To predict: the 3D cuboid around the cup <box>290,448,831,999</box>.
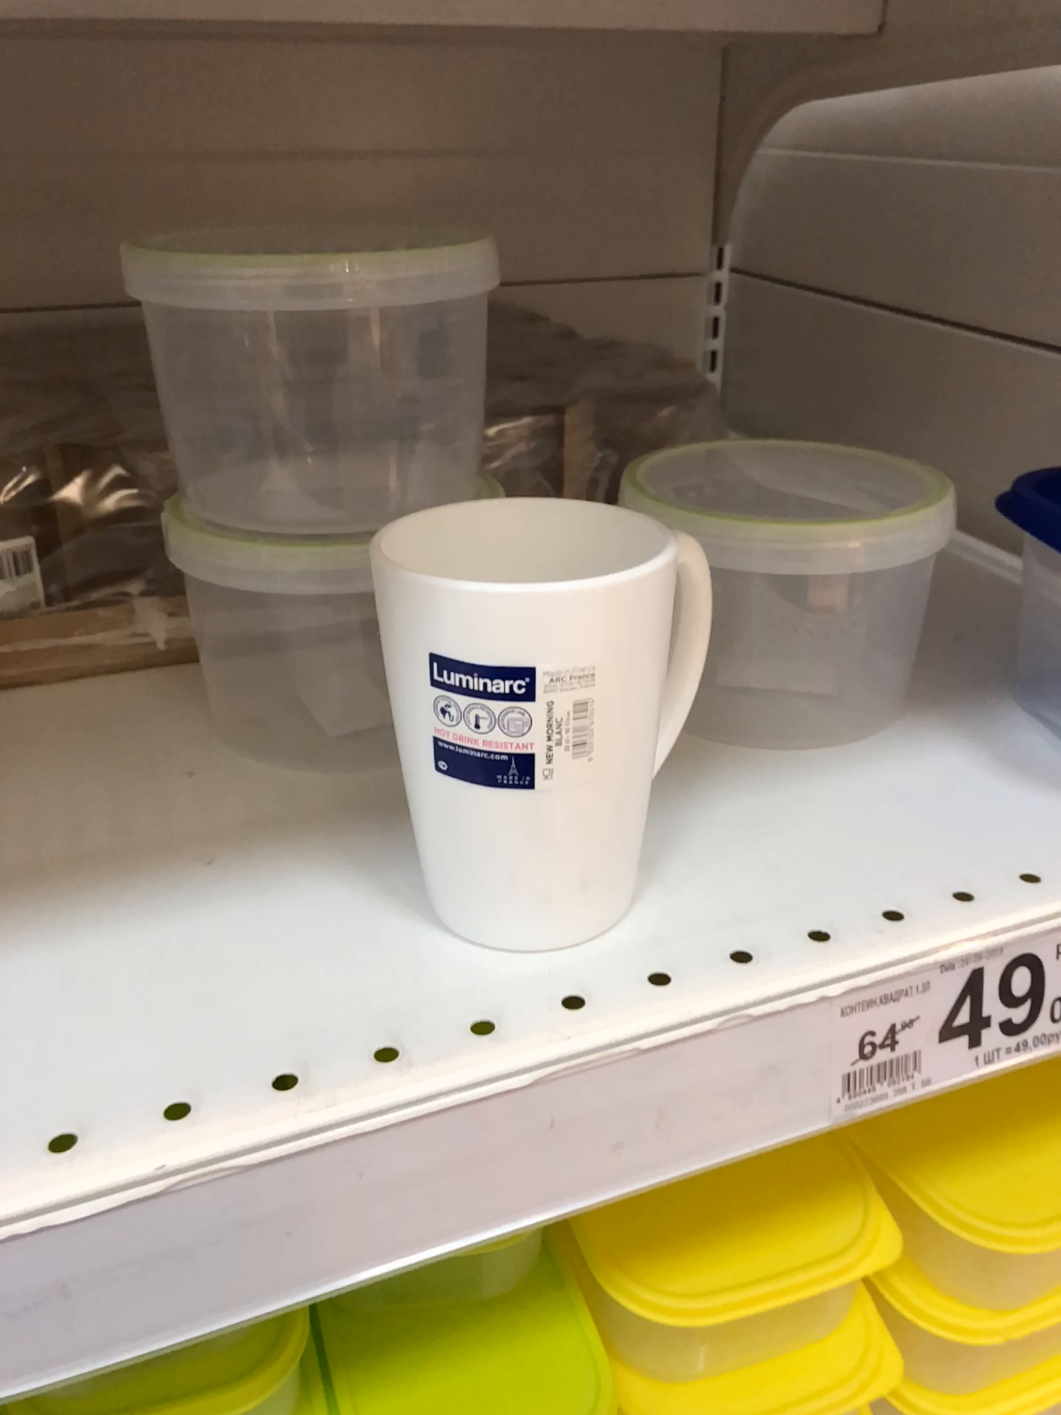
[{"bbox_3d":[0.008,-0.004,0.336,0.120,0.107,0.079,-17,31,-29],"label":"cup"}]
